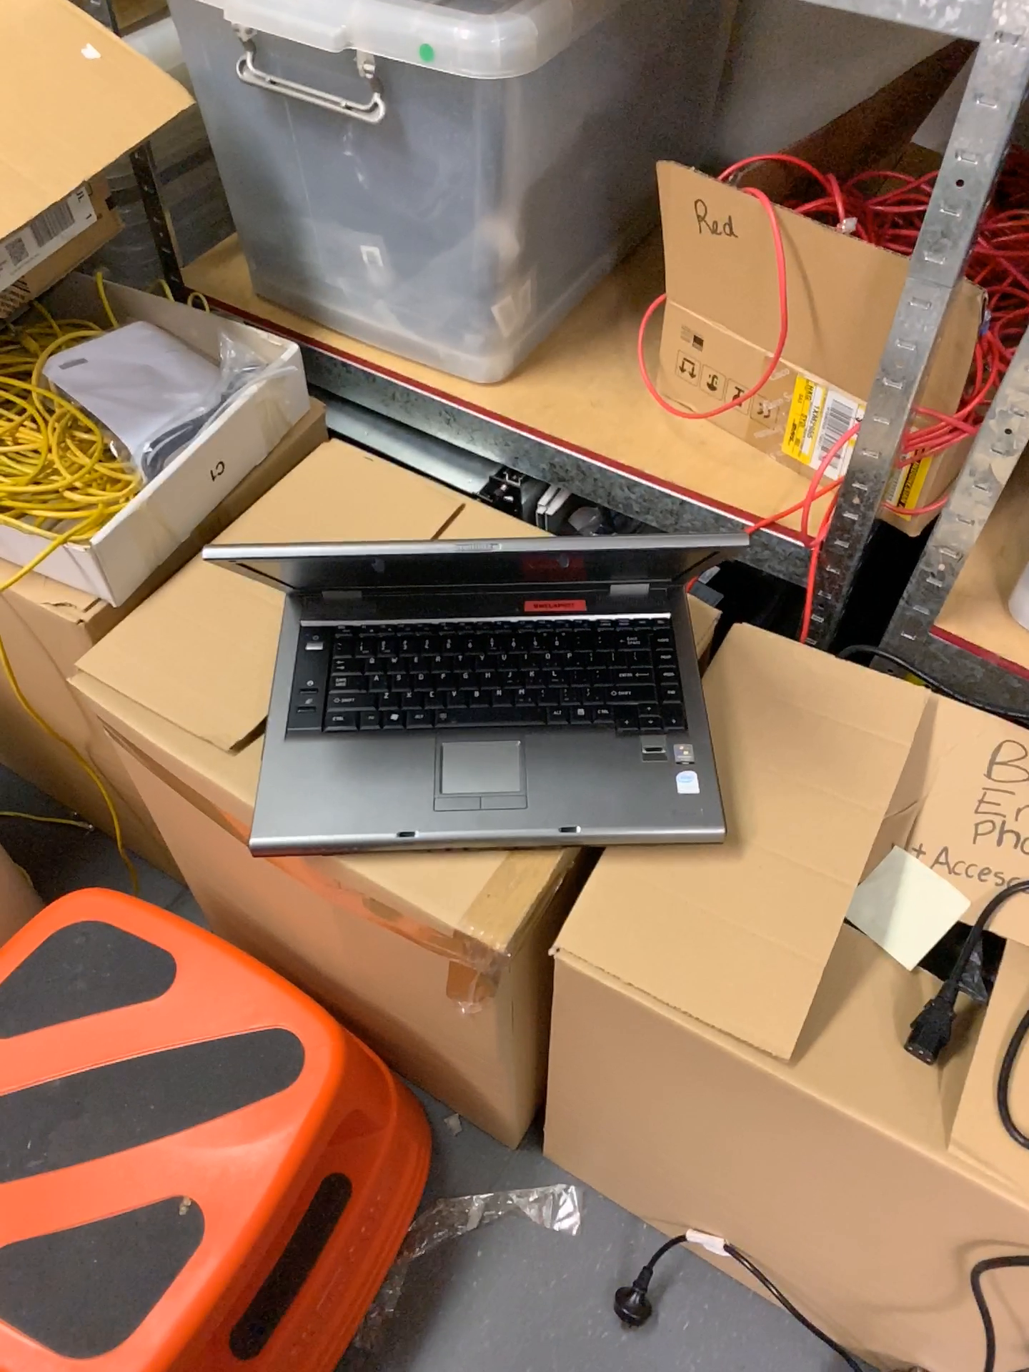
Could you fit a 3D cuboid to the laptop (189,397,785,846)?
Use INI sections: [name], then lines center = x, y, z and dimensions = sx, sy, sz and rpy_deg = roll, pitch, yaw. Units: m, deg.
[laptop]
center = -0.022, -0.047, 0.777
dimensions = 0.352, 0.203, 0.254
rpy_deg = -1, 52, 0
